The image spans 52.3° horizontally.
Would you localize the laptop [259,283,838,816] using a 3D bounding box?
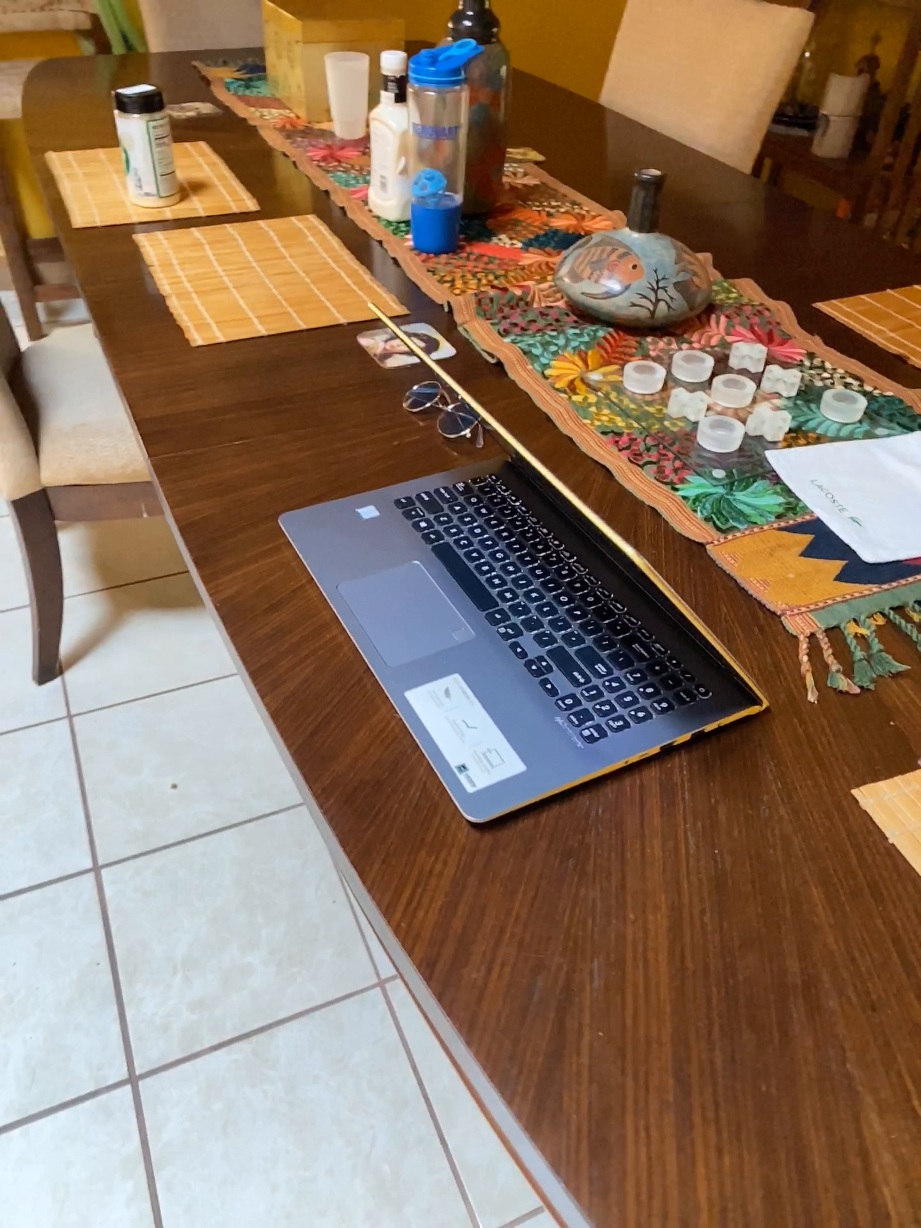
[{"bbox_3d":[0.036,-0.082,0.730,0.250,0.181,0.378,-18,45,-22],"label":"laptop"}]
